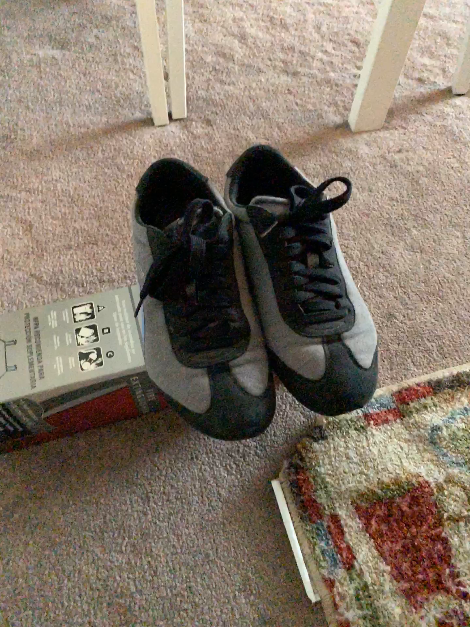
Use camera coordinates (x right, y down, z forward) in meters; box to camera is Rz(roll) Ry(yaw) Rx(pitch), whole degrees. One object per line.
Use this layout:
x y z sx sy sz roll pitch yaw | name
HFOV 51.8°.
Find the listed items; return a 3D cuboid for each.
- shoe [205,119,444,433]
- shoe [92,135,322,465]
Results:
0.057 -0.043 0.412 0.100 0.077 0.251 -15 61 -7 | shoe
-0.033 -0.022 0.387 0.110 0.077 0.241 -13 63 -11 | shoe
